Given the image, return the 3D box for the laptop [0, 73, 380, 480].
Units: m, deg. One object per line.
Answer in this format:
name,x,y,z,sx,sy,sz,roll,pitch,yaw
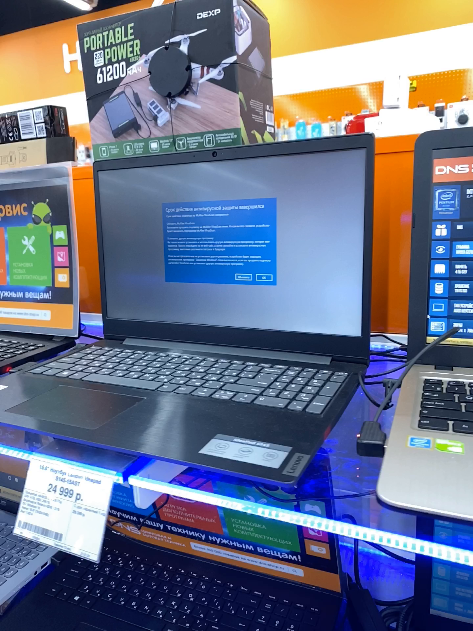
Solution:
laptop,-0.069,-0.049,0.483,0.361,0.240,0.273,3,13,26
